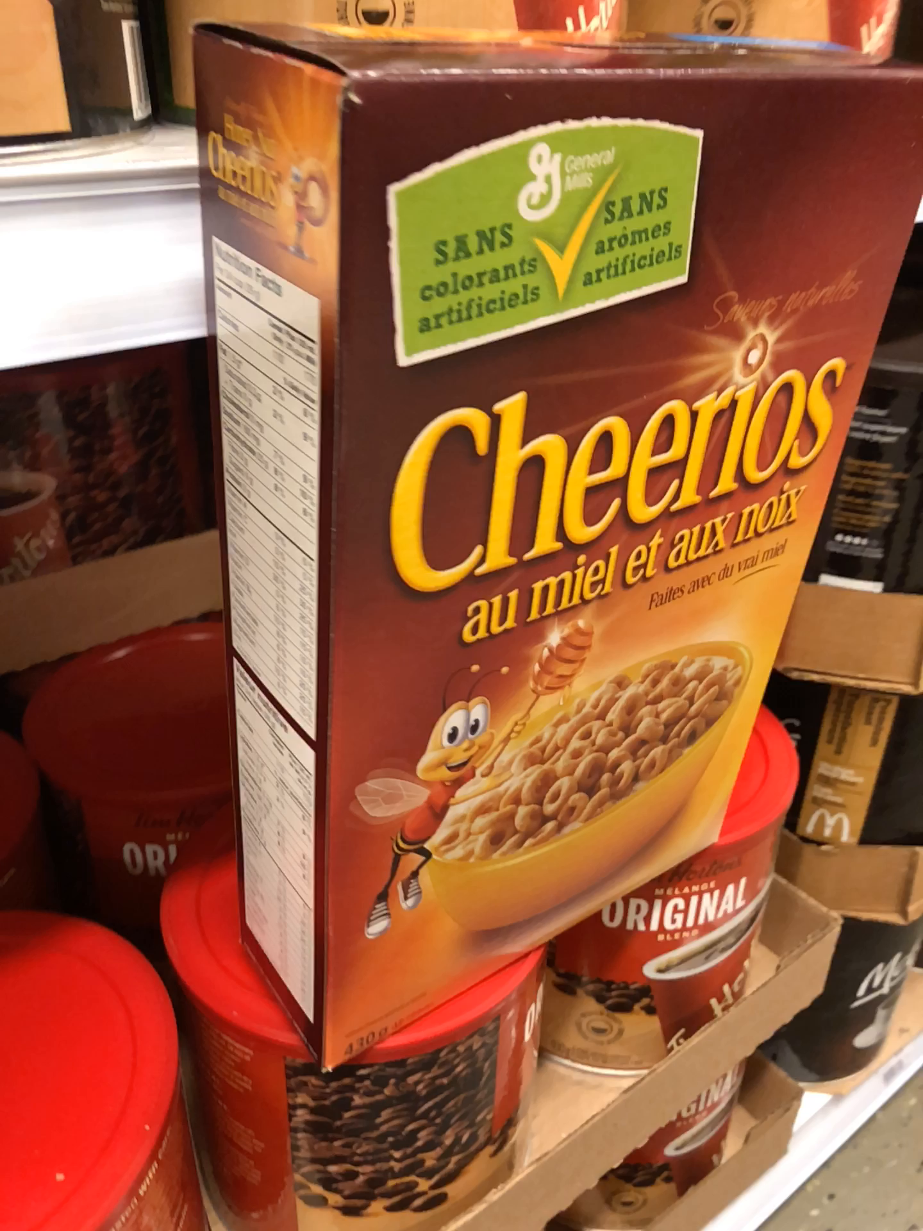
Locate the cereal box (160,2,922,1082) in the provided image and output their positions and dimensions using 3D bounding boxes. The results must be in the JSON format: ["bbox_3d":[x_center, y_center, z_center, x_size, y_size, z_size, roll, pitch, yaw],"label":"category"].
[{"bbox_3d":[0.026,-0.015,0.318,0.200,0.289,0.060,-19,41,-32],"label":"cereal box"}]
